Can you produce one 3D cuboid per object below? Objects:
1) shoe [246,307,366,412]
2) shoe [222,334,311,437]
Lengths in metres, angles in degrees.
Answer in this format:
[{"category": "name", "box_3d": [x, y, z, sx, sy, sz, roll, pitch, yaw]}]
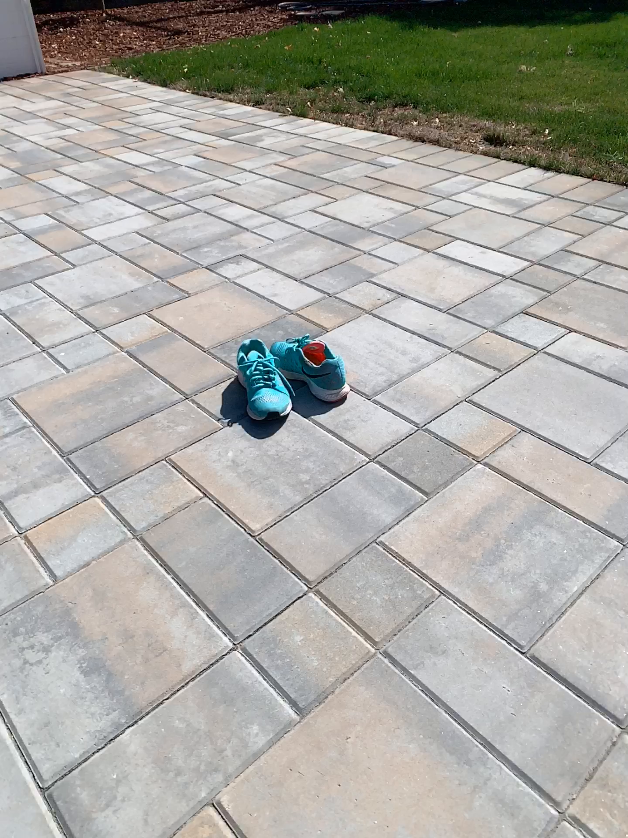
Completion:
[{"category": "shoe", "box_3d": [-0.021, -0.143, 1.458, 0.130, 0.100, 0.271, -26, 43, -28]}, {"category": "shoe", "box_3d": [-0.112, -0.084, 1.452, 0.130, 0.100, 0.271, -12, 33, -13]}]
